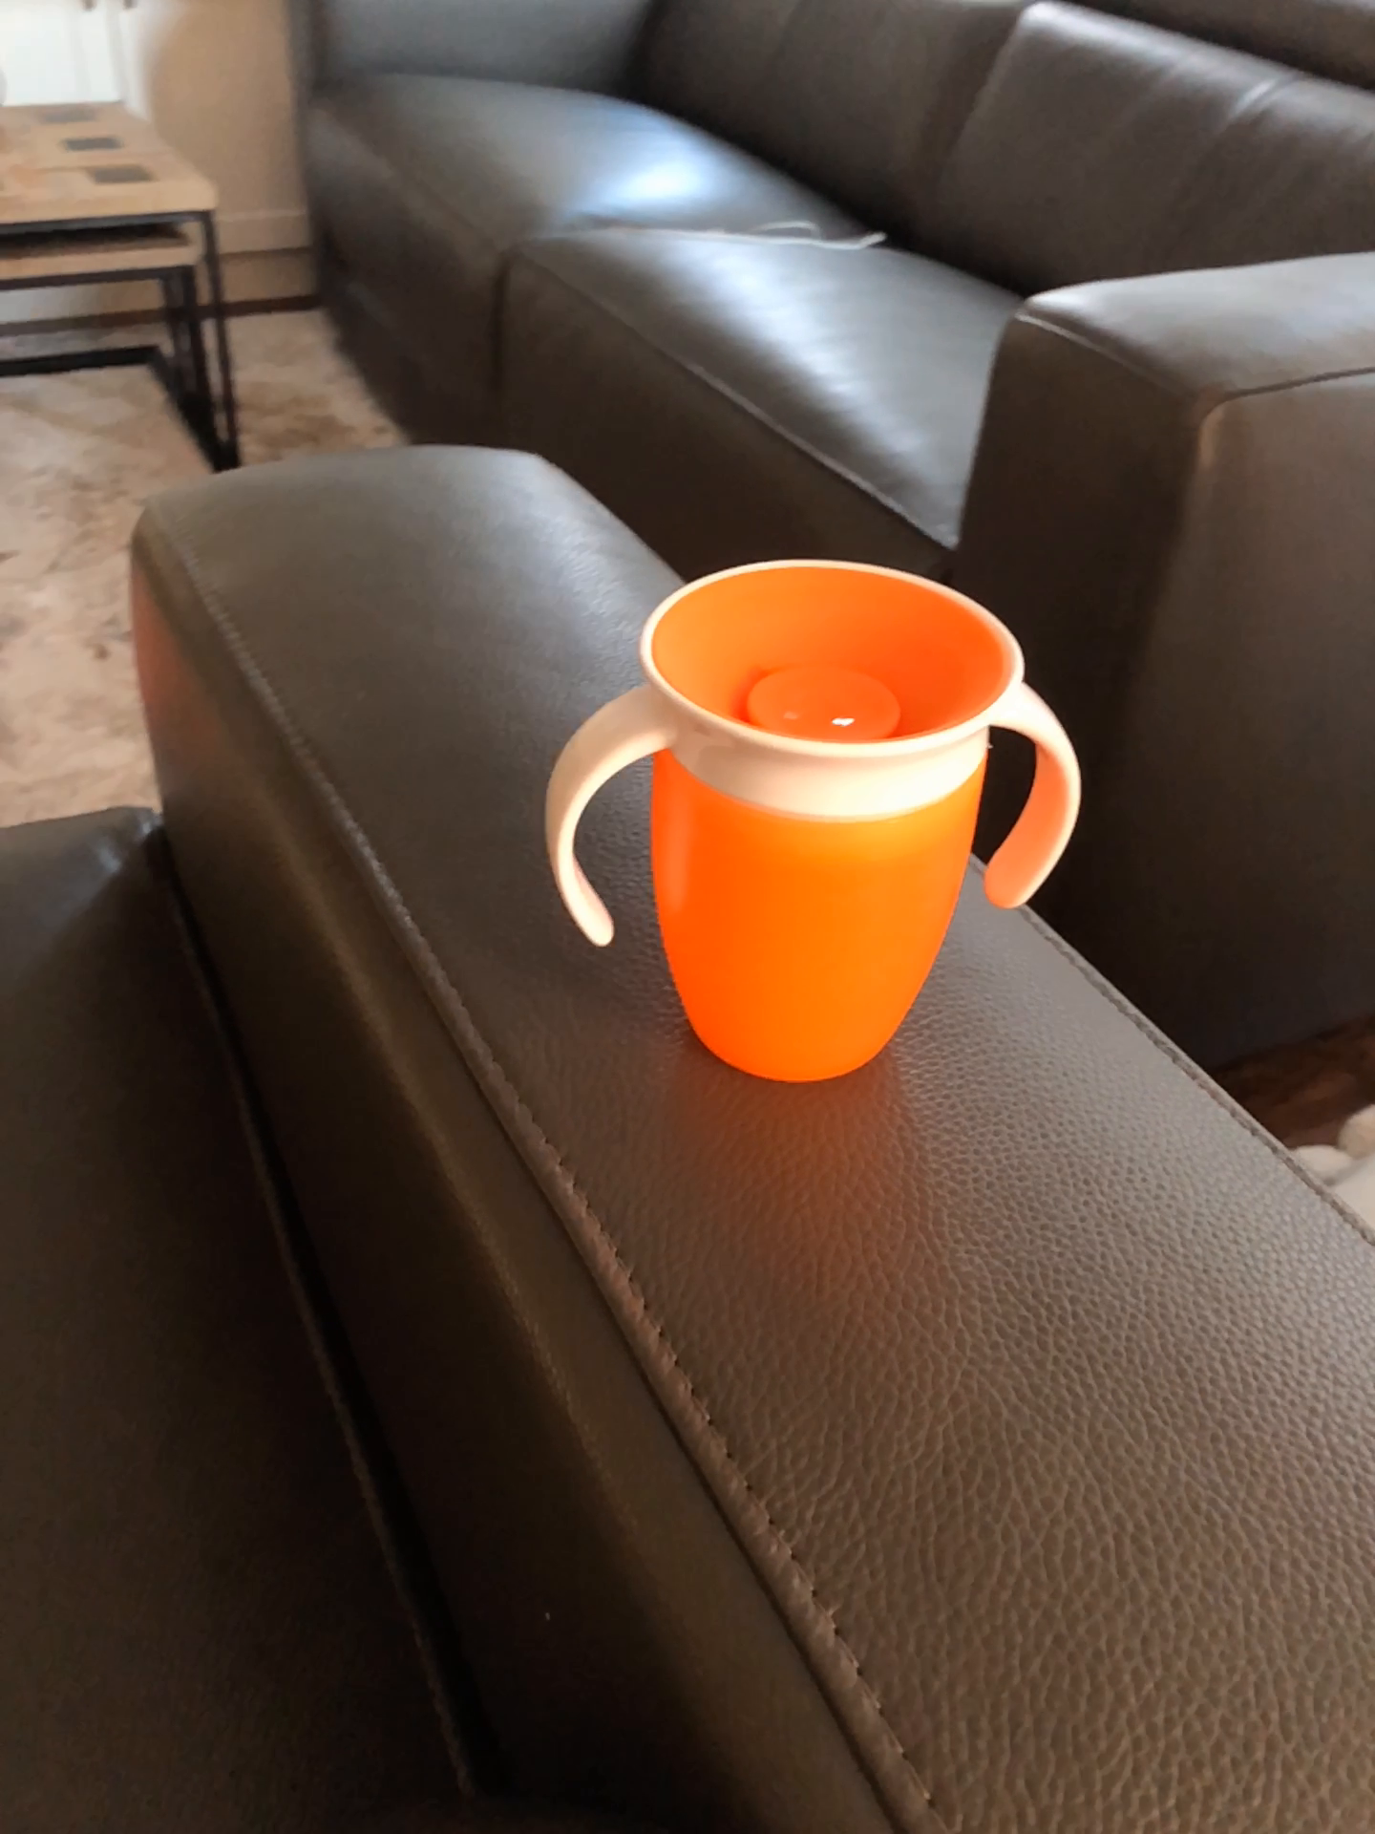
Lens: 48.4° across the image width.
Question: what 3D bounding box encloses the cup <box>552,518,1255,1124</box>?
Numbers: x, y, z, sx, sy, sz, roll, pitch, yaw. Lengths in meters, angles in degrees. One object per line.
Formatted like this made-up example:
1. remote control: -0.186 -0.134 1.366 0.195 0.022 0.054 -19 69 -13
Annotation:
1. cup: 0.039 -0.025 0.351 0.126 0.096 0.083 -7 39 -14
